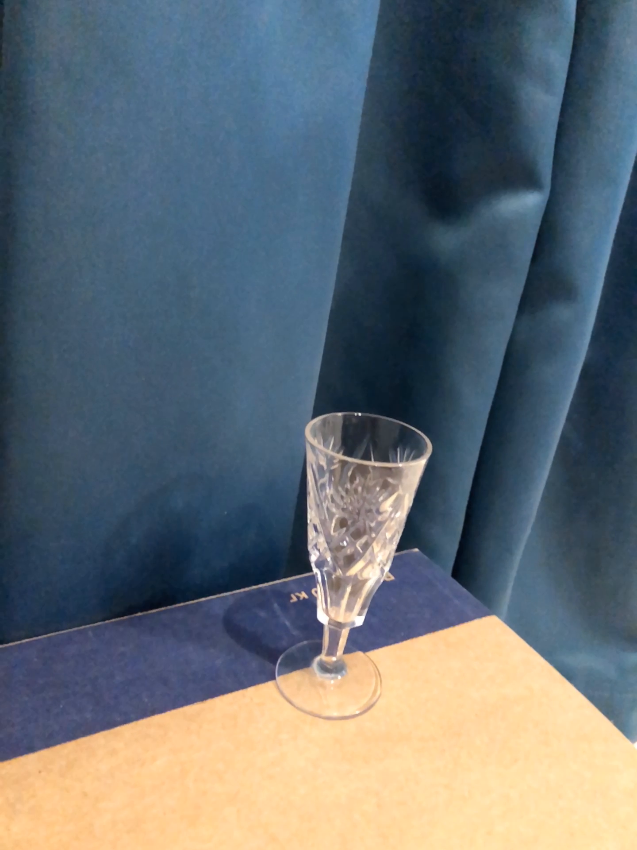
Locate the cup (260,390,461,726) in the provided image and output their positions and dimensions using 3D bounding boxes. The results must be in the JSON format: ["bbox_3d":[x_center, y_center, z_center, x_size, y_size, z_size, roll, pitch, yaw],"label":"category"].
[{"bbox_3d":[0.010,0.053,0.275,0.053,0.119,0.051,7,24,-3],"label":"cup"}]
